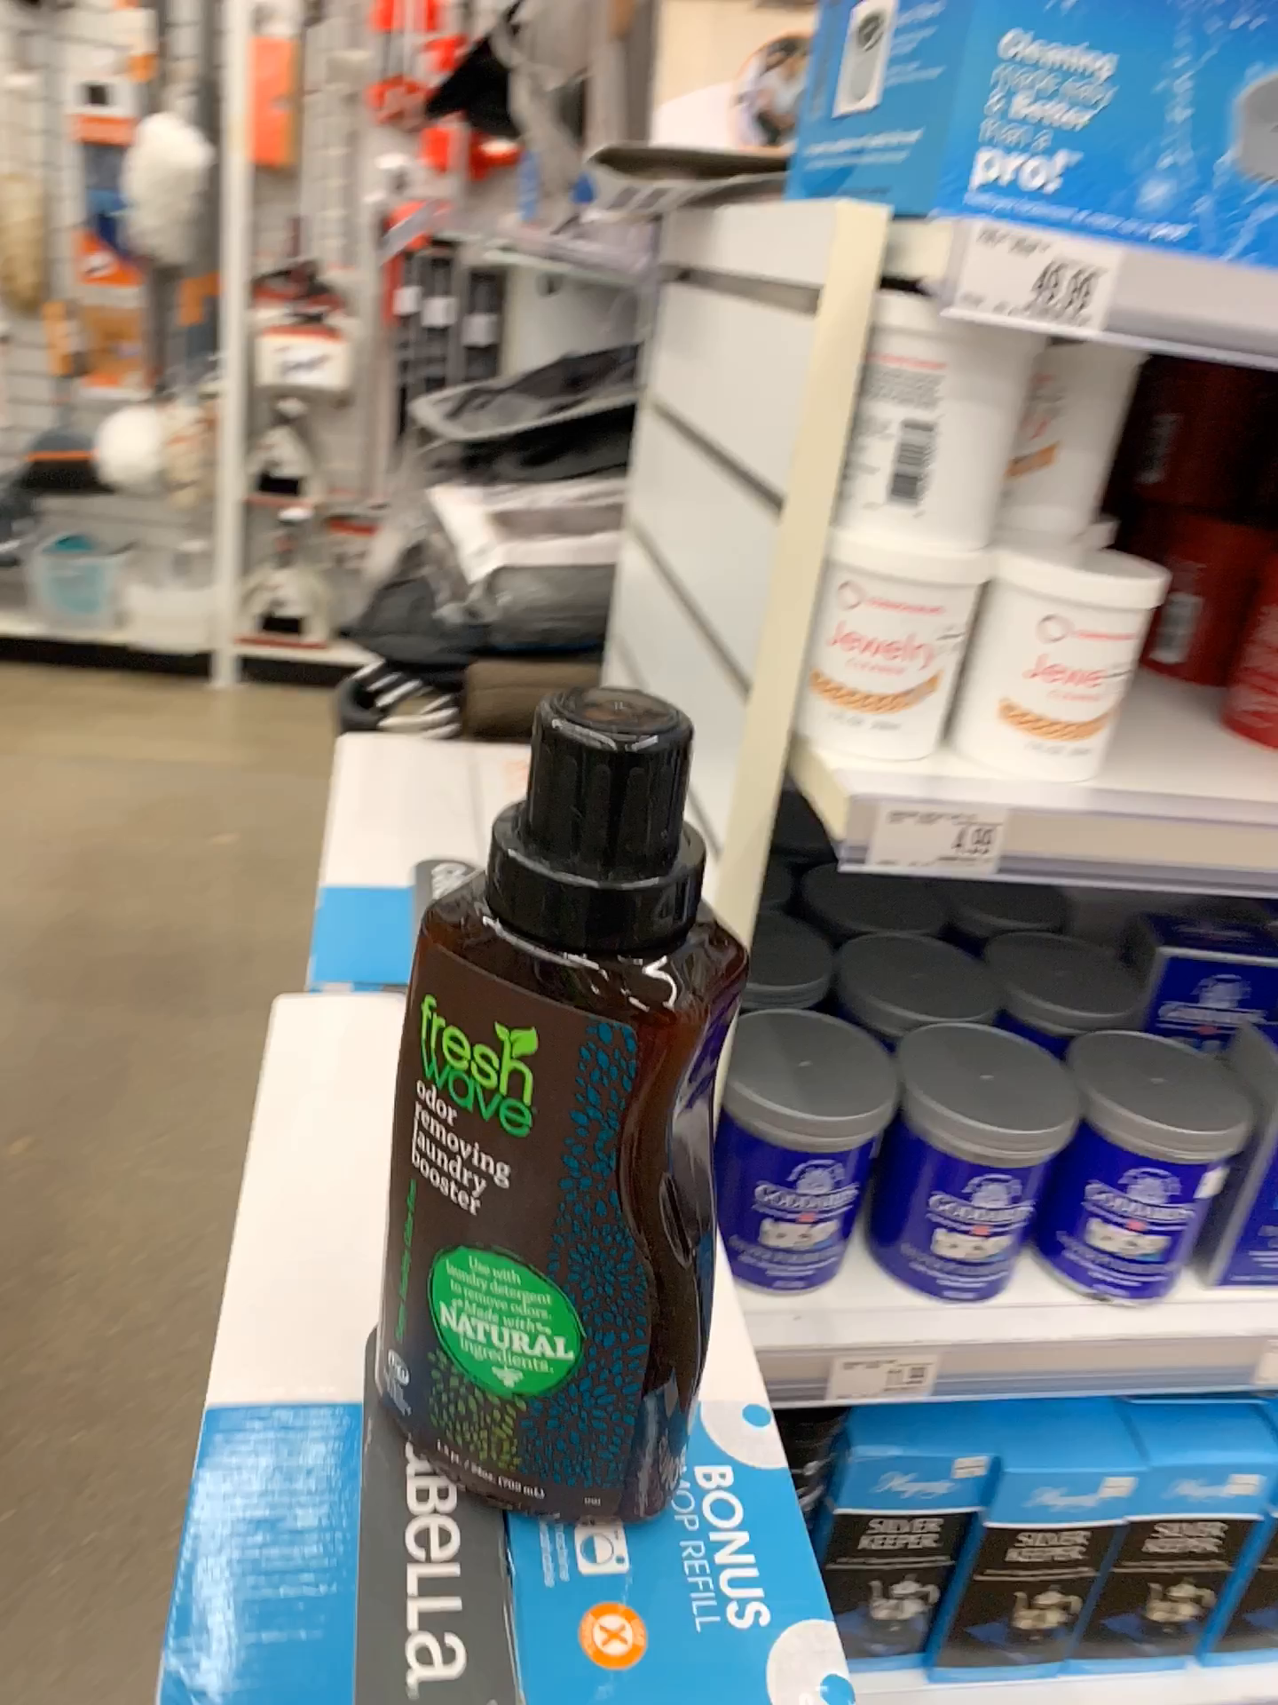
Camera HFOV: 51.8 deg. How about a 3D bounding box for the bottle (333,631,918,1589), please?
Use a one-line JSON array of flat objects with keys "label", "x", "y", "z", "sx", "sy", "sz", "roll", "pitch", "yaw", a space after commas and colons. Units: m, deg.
[{"label": "bottle", "x": -0.011, "y": 0.063, "z": 0.336, "sx": 0.100, "sy": 0.209, "sz": 0.070, "roll": 21, "pitch": 26, "yaw": 25}]
